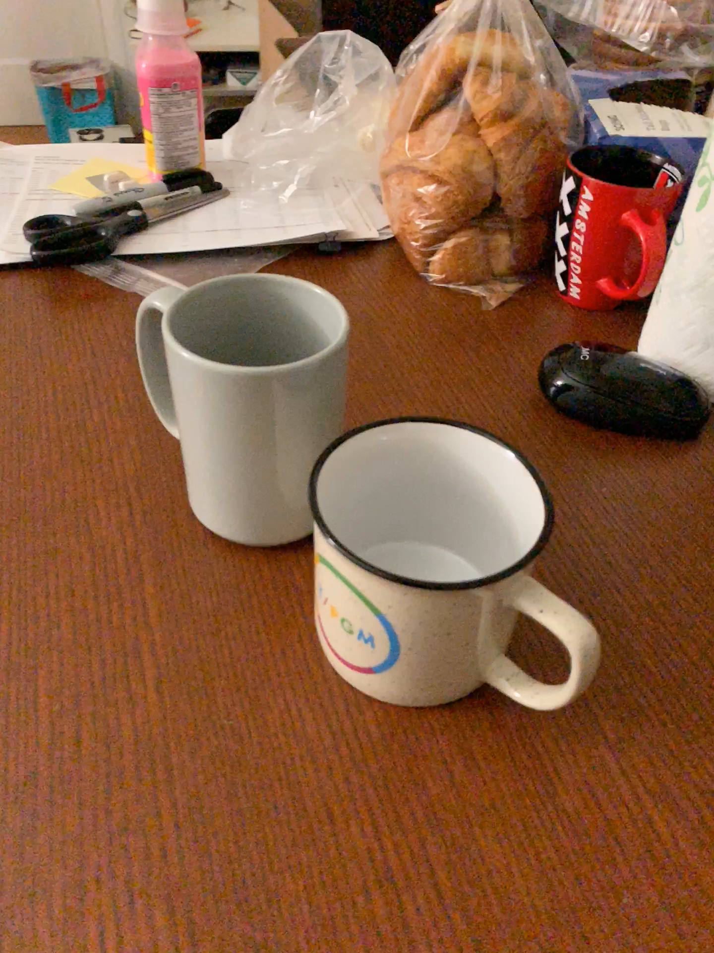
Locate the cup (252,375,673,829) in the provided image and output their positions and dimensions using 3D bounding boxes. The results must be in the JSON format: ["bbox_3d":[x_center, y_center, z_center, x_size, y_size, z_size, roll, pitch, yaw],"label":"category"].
[{"bbox_3d":[0.033,0.045,0.312,0.100,0.099,0.131,-23,49,-26],"label":"cup"}]

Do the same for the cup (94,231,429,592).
[{"bbox_3d":[-0.051,-0.041,0.374,0.100,0.099,0.141,-23,49,-26],"label":"cup"}]
